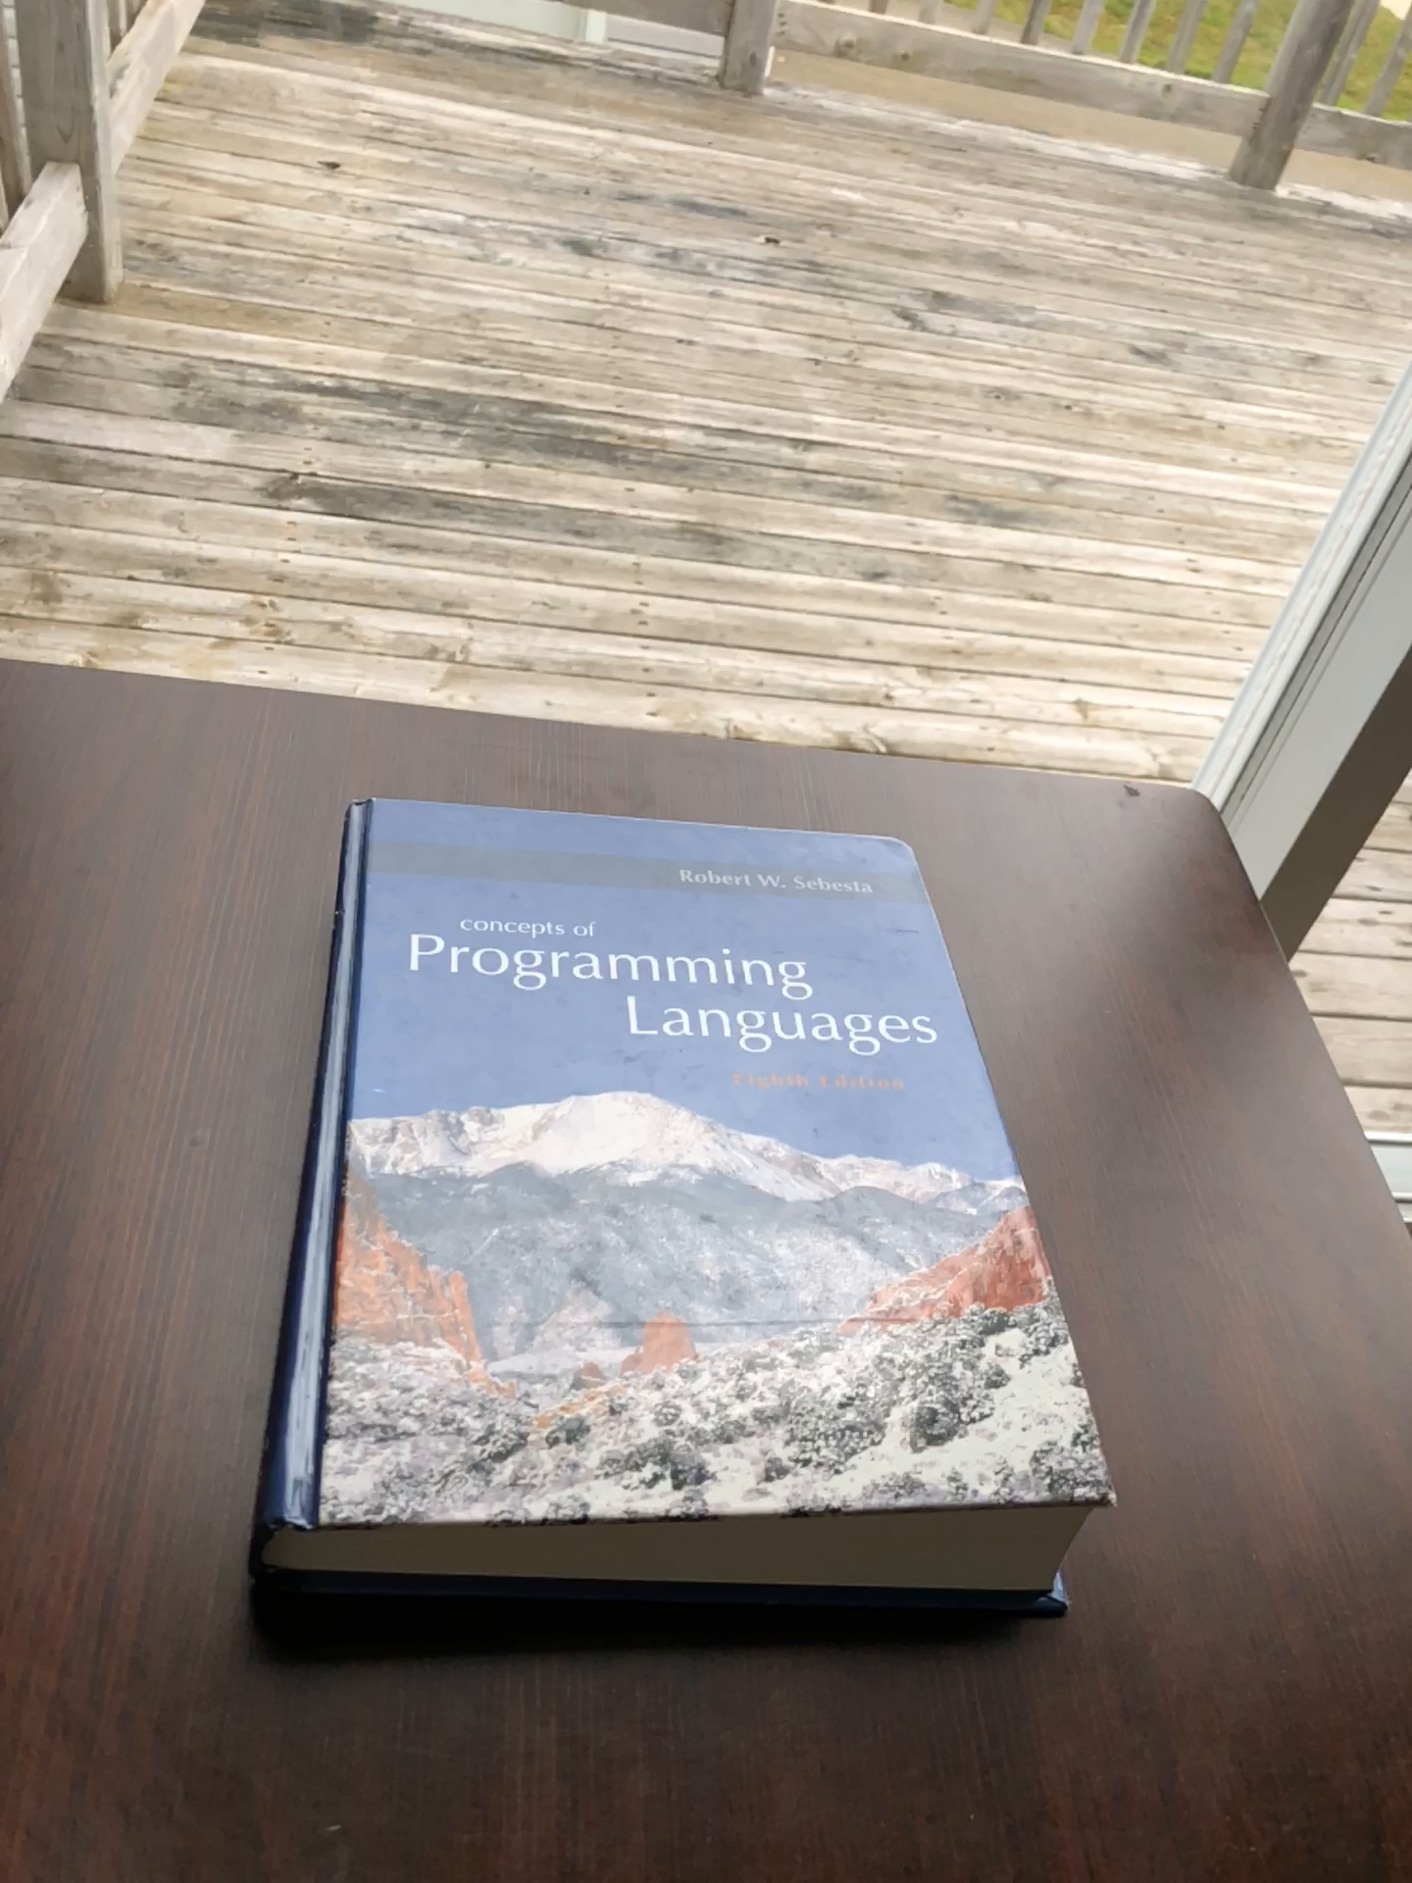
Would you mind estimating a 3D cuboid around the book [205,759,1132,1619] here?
[{"bbox_3d":[-0.015,0.053,0.423,0.195,0.048,0.237,5,44,-10],"label":"book"}]
